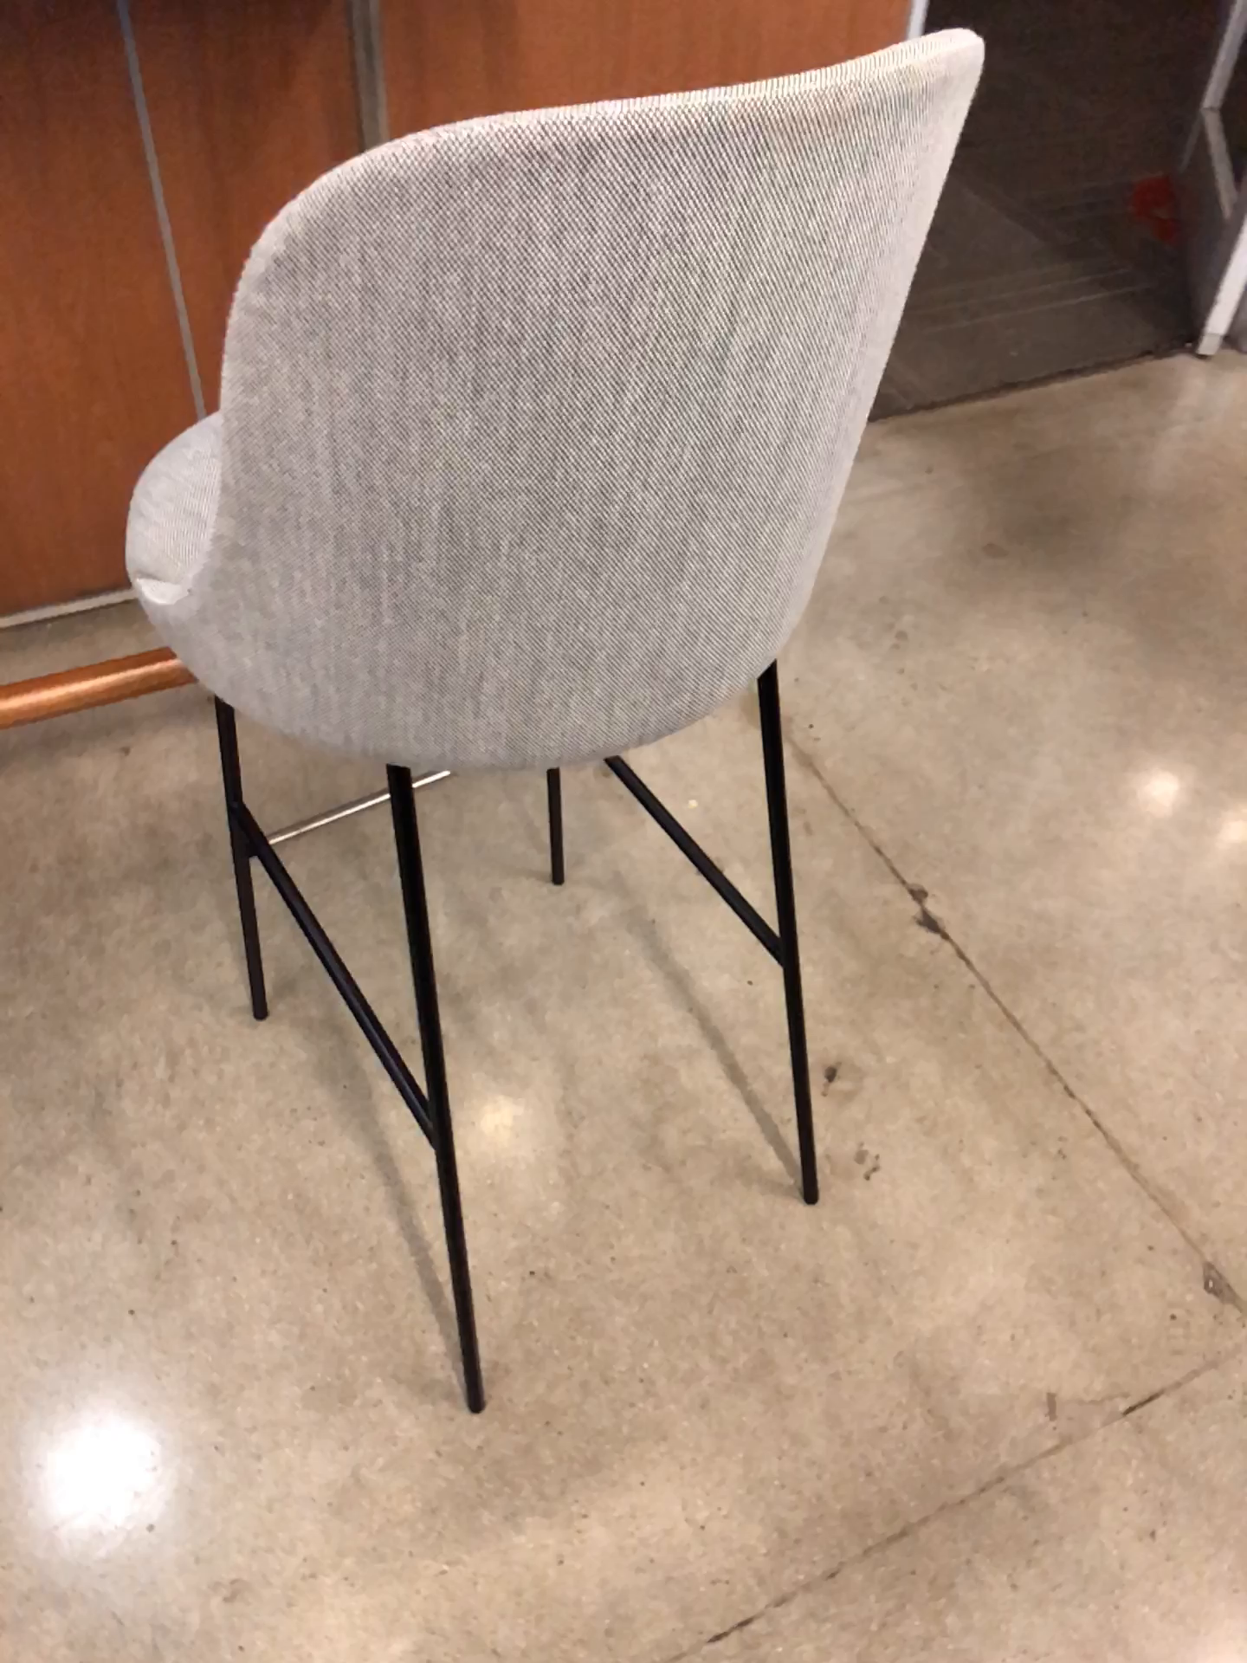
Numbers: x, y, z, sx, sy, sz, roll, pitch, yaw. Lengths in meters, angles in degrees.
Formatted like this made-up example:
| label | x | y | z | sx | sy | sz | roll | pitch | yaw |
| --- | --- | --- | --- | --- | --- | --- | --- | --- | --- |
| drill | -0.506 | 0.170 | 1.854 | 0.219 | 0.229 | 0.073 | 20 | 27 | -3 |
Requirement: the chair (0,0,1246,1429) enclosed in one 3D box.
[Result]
| label | x | y | z | sx | sy | sz | roll | pitch | yaw |
| --- | --- | --- | --- | --- | --- | --- | --- | --- | --- |
| chair | -0.084 | -0.127 | 1.087 | 0.461 | 1.095 | 0.622 | -23 | 52 | -24 |
